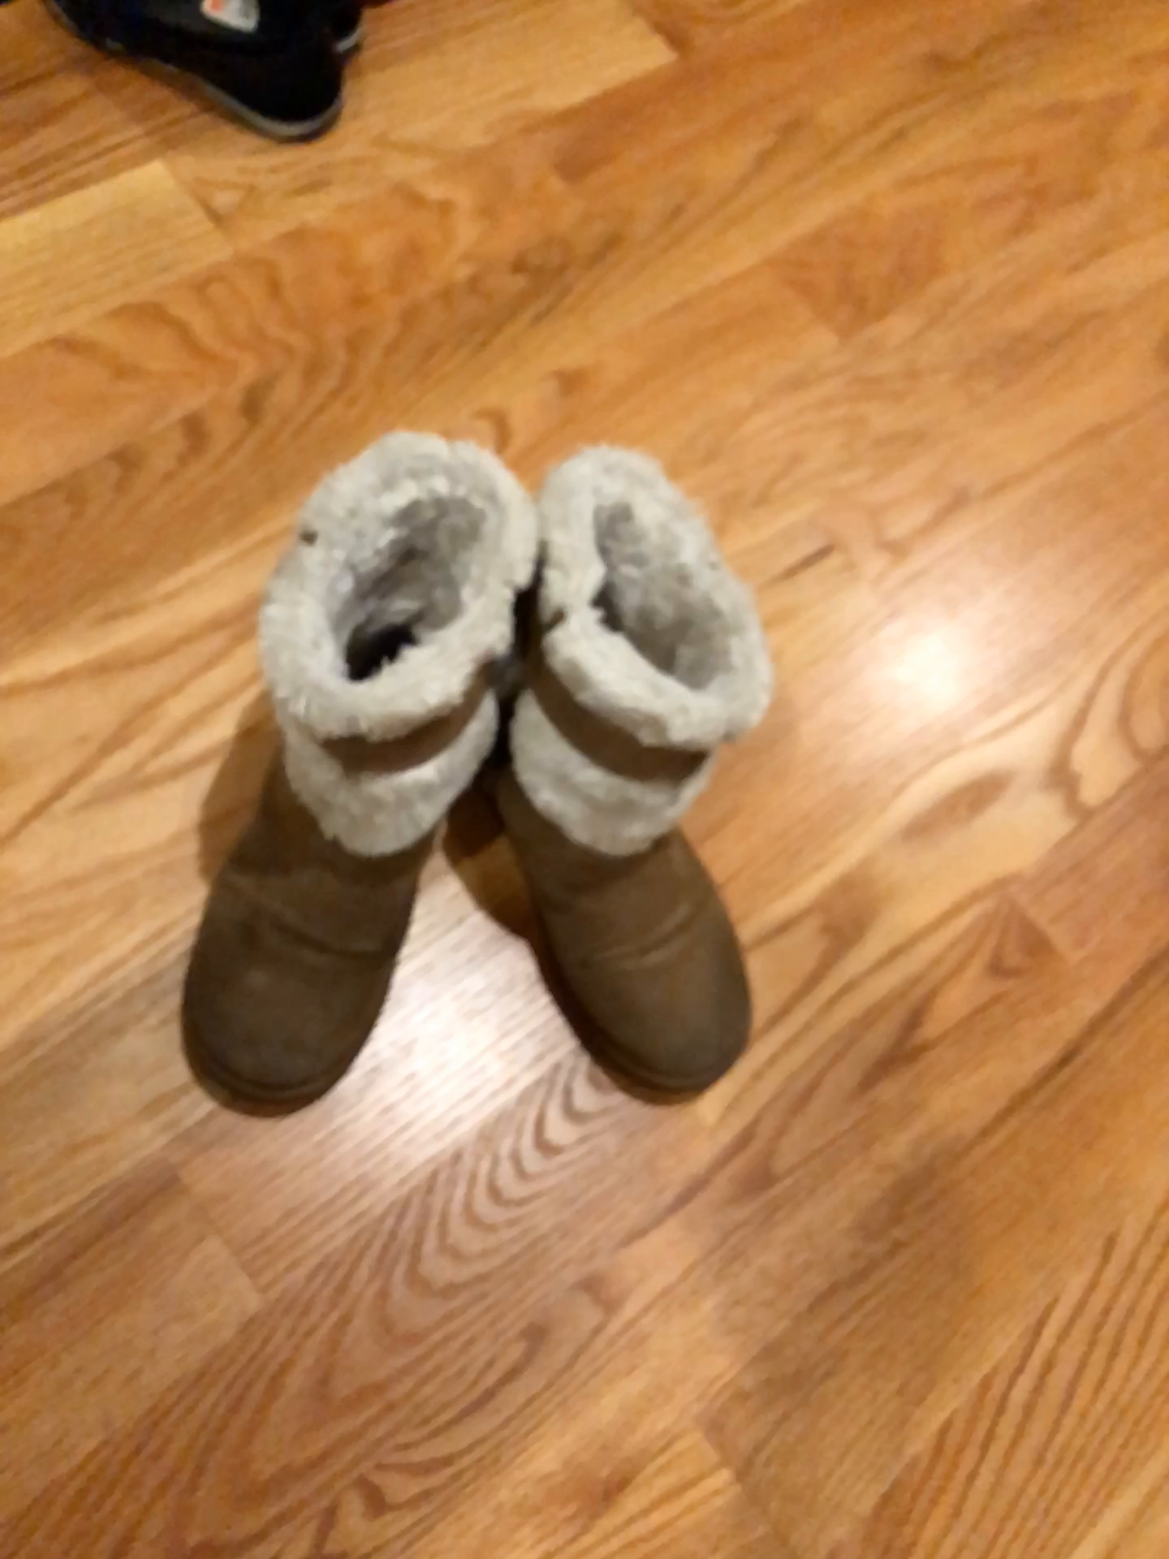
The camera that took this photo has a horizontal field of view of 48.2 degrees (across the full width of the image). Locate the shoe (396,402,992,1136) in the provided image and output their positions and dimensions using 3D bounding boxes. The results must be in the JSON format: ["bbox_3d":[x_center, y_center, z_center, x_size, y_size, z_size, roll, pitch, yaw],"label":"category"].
[{"bbox_3d":[0.026,0.006,0.588,0.113,0.194,0.254,-22,75,-20],"label":"shoe"}]

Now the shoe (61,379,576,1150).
[{"bbox_3d":[-0.104,0.006,0.555,0.106,0.194,0.255,17,66,-6],"label":"shoe"}]
